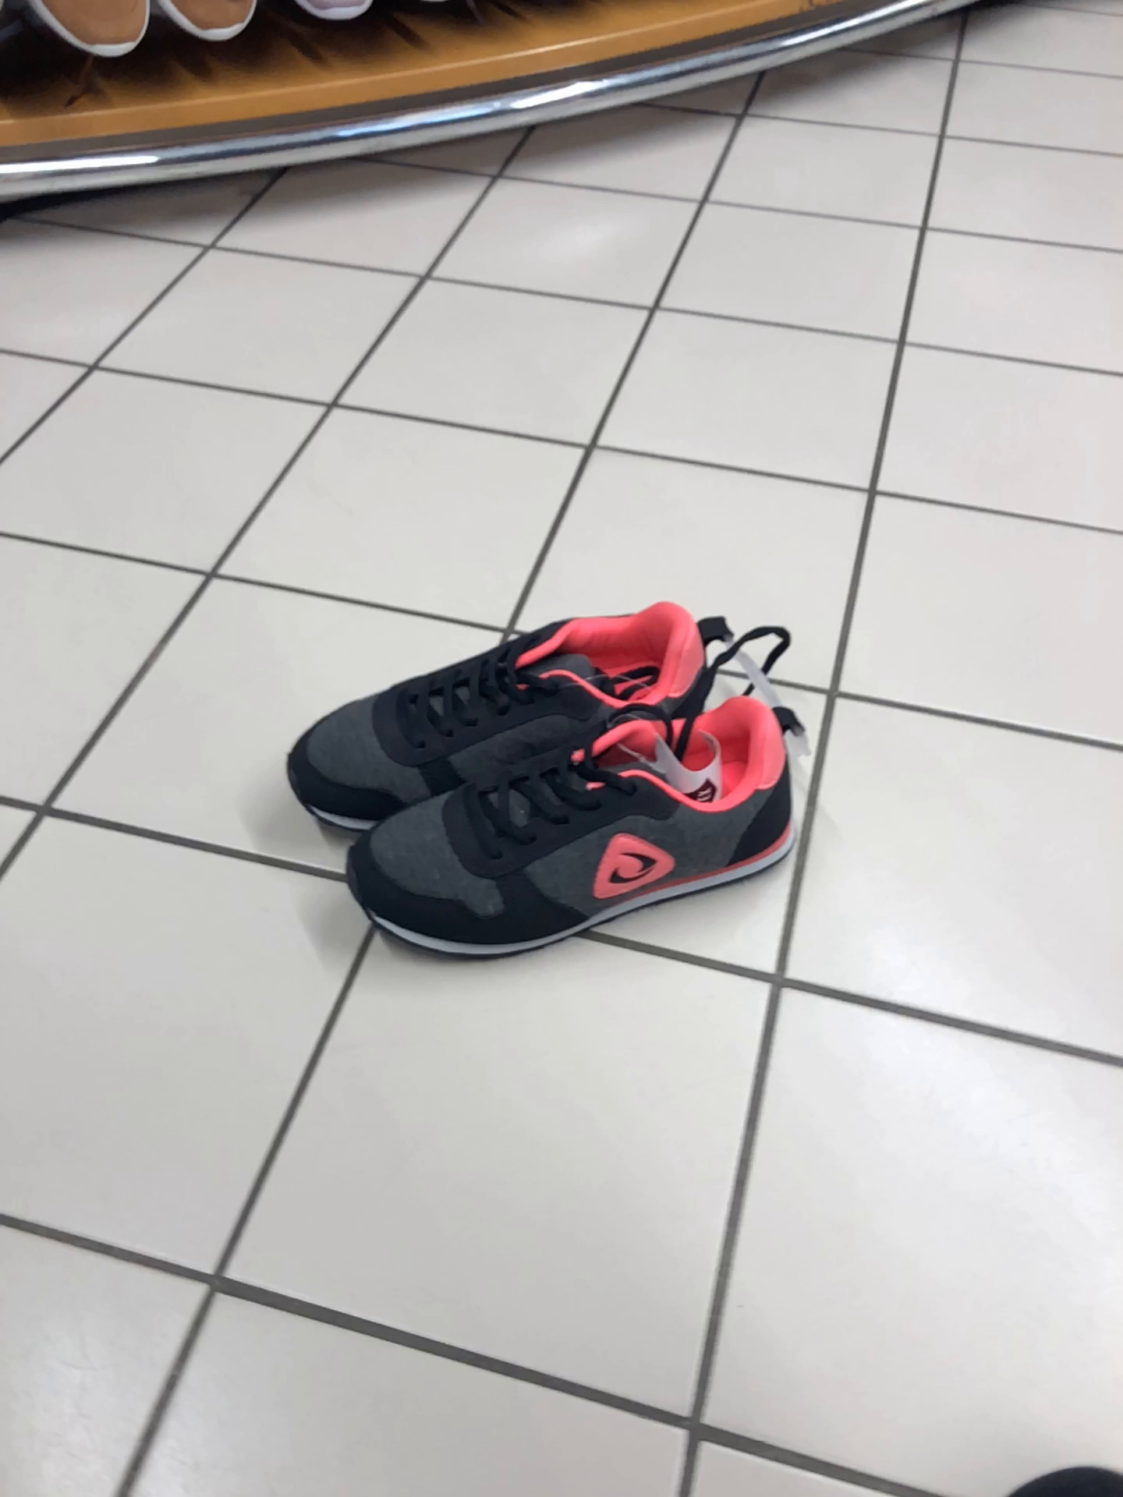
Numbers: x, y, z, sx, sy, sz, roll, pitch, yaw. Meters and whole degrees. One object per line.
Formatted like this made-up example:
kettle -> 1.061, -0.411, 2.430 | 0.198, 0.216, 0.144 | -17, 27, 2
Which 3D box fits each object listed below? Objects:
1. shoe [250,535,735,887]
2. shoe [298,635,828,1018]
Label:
shoe -> -0.034, -0.022, 0.642 | 0.220, 0.099, 0.090 | -14, 50, -13
shoe -> 0.000, 0.035, 0.591 | 0.220, 0.099, 0.090 | -14, 50, -12
